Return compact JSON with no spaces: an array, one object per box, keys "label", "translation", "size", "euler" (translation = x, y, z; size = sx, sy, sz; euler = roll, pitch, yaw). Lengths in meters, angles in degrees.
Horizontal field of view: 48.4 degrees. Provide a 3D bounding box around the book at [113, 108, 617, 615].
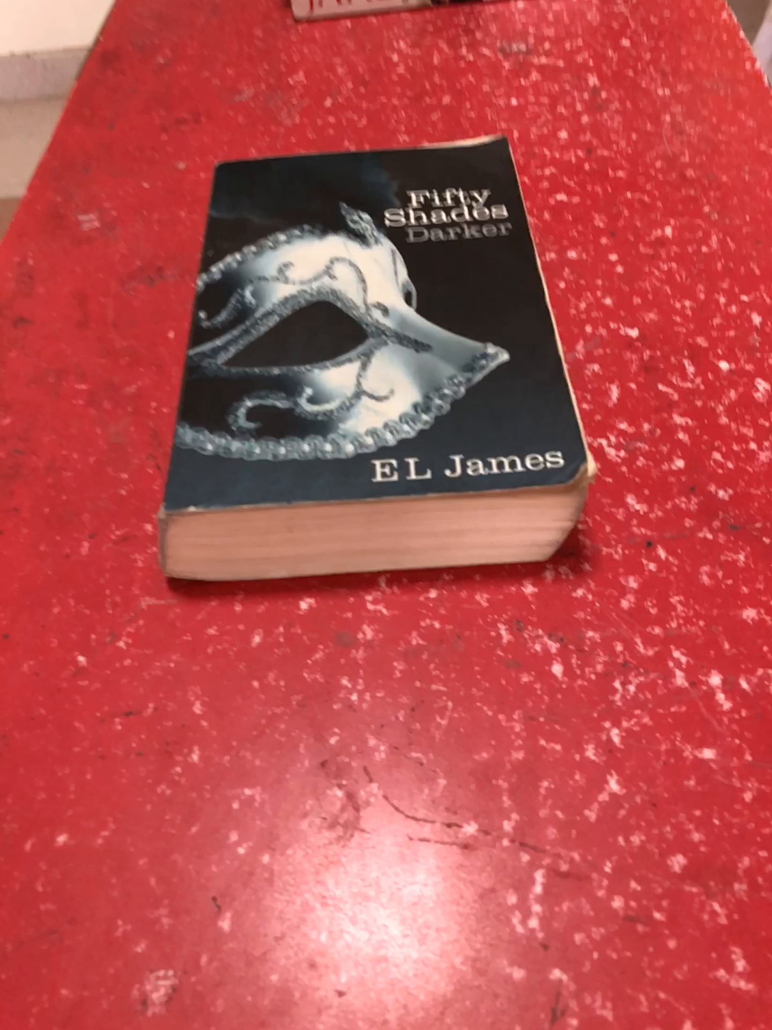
[{"label":"book","translation":[-0.008,-0.070,0.322],"size":[0.140,0.050,0.210],"euler":[-4,52,2]}]
